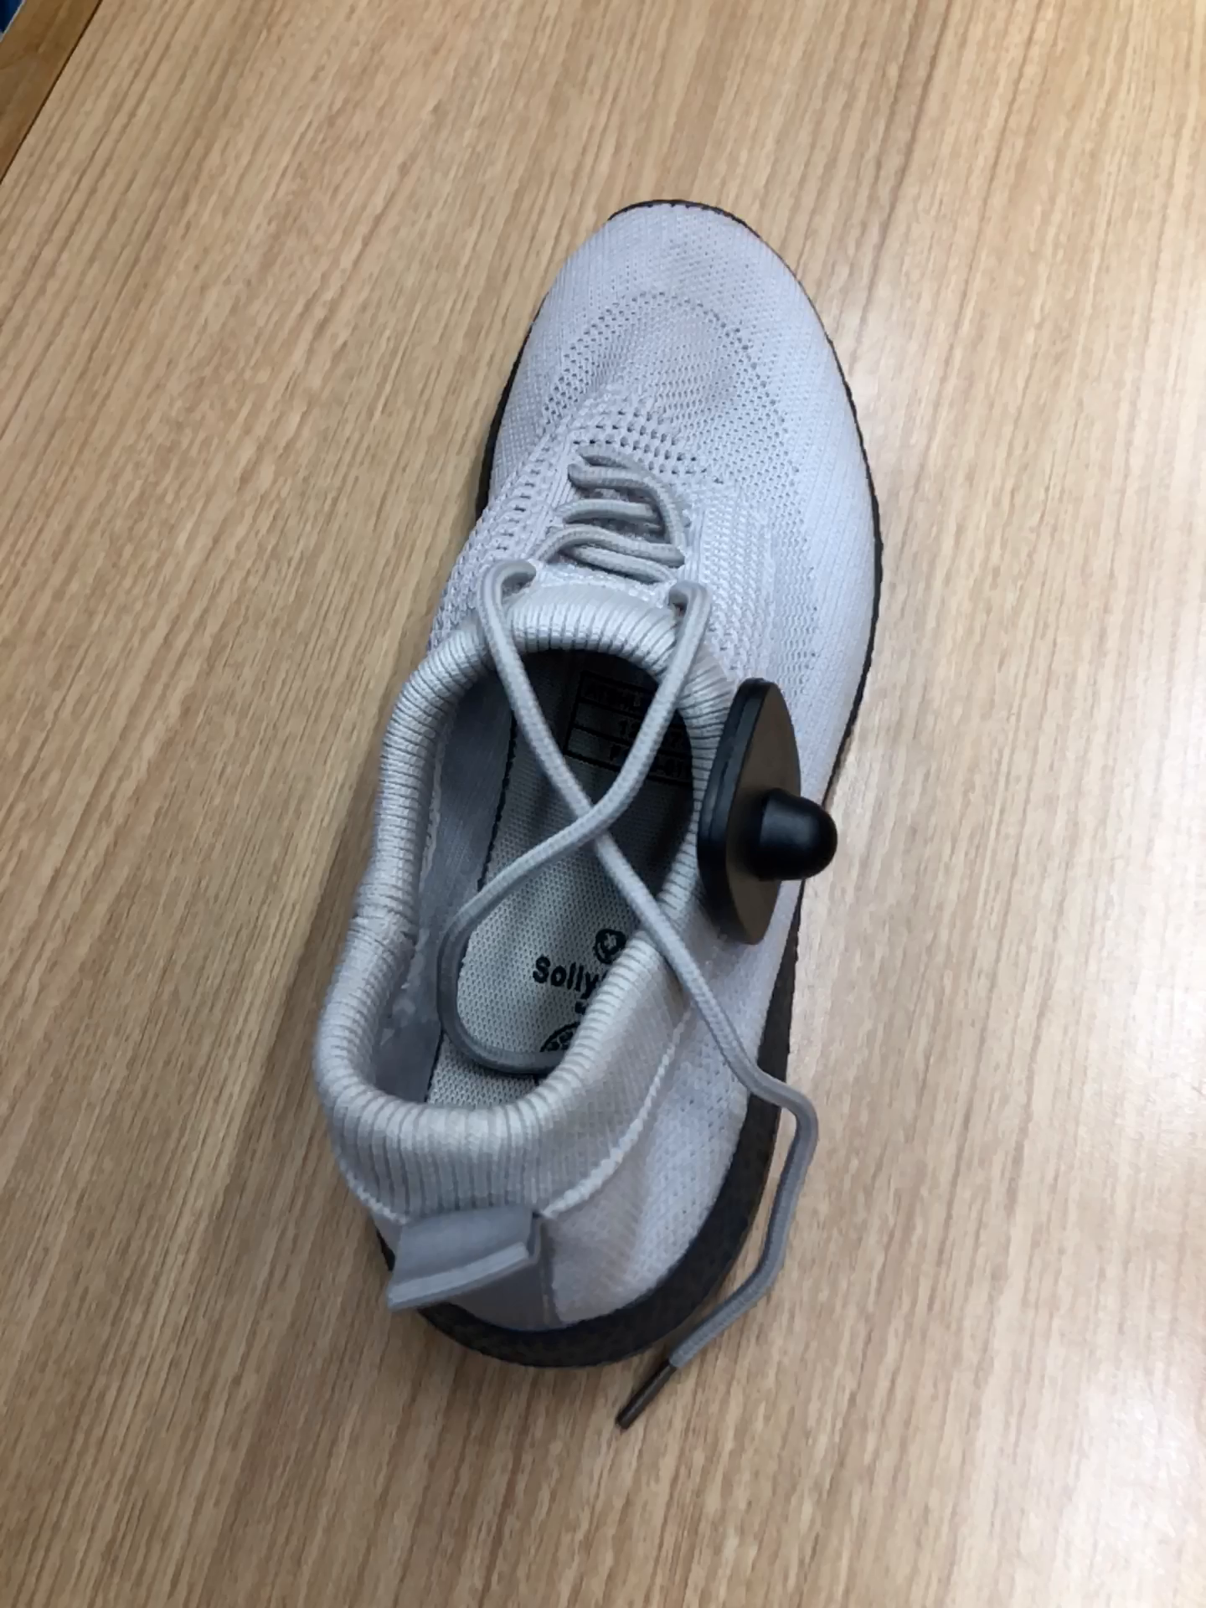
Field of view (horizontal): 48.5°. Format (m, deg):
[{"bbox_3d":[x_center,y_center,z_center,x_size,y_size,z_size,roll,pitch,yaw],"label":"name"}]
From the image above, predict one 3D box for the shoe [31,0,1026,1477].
[{"bbox_3d":[0.007,-0.031,0.262,0.106,0.122,0.265,8,69,6],"label":"shoe"}]
